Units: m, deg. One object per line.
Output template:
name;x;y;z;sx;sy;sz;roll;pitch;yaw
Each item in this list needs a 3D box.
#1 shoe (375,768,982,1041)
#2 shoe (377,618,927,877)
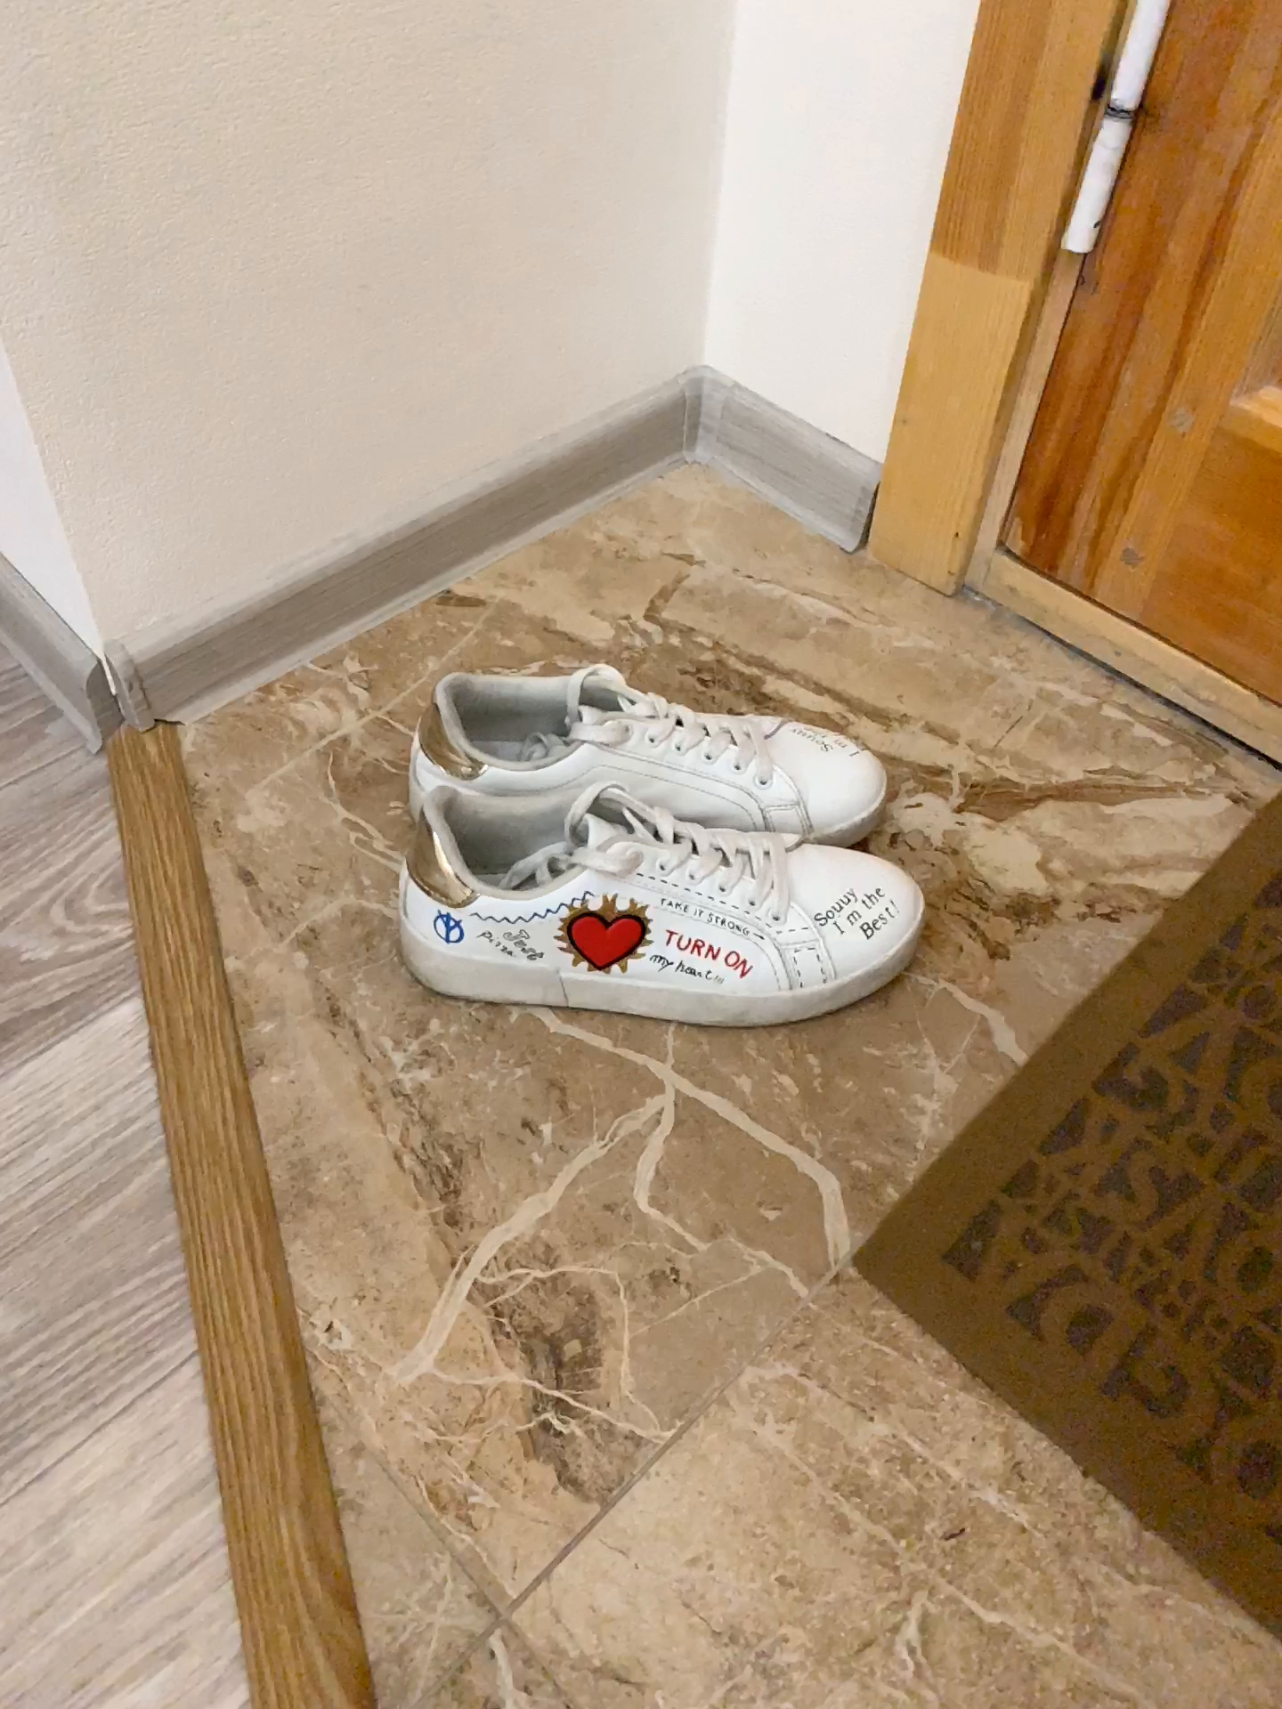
shoe;0.015;0.024;0.614;0.256;0.080;0.093;1;48;-3
shoe;0.004;-0.054;0.671;0.256;0.080;0.093;2;48;-2
